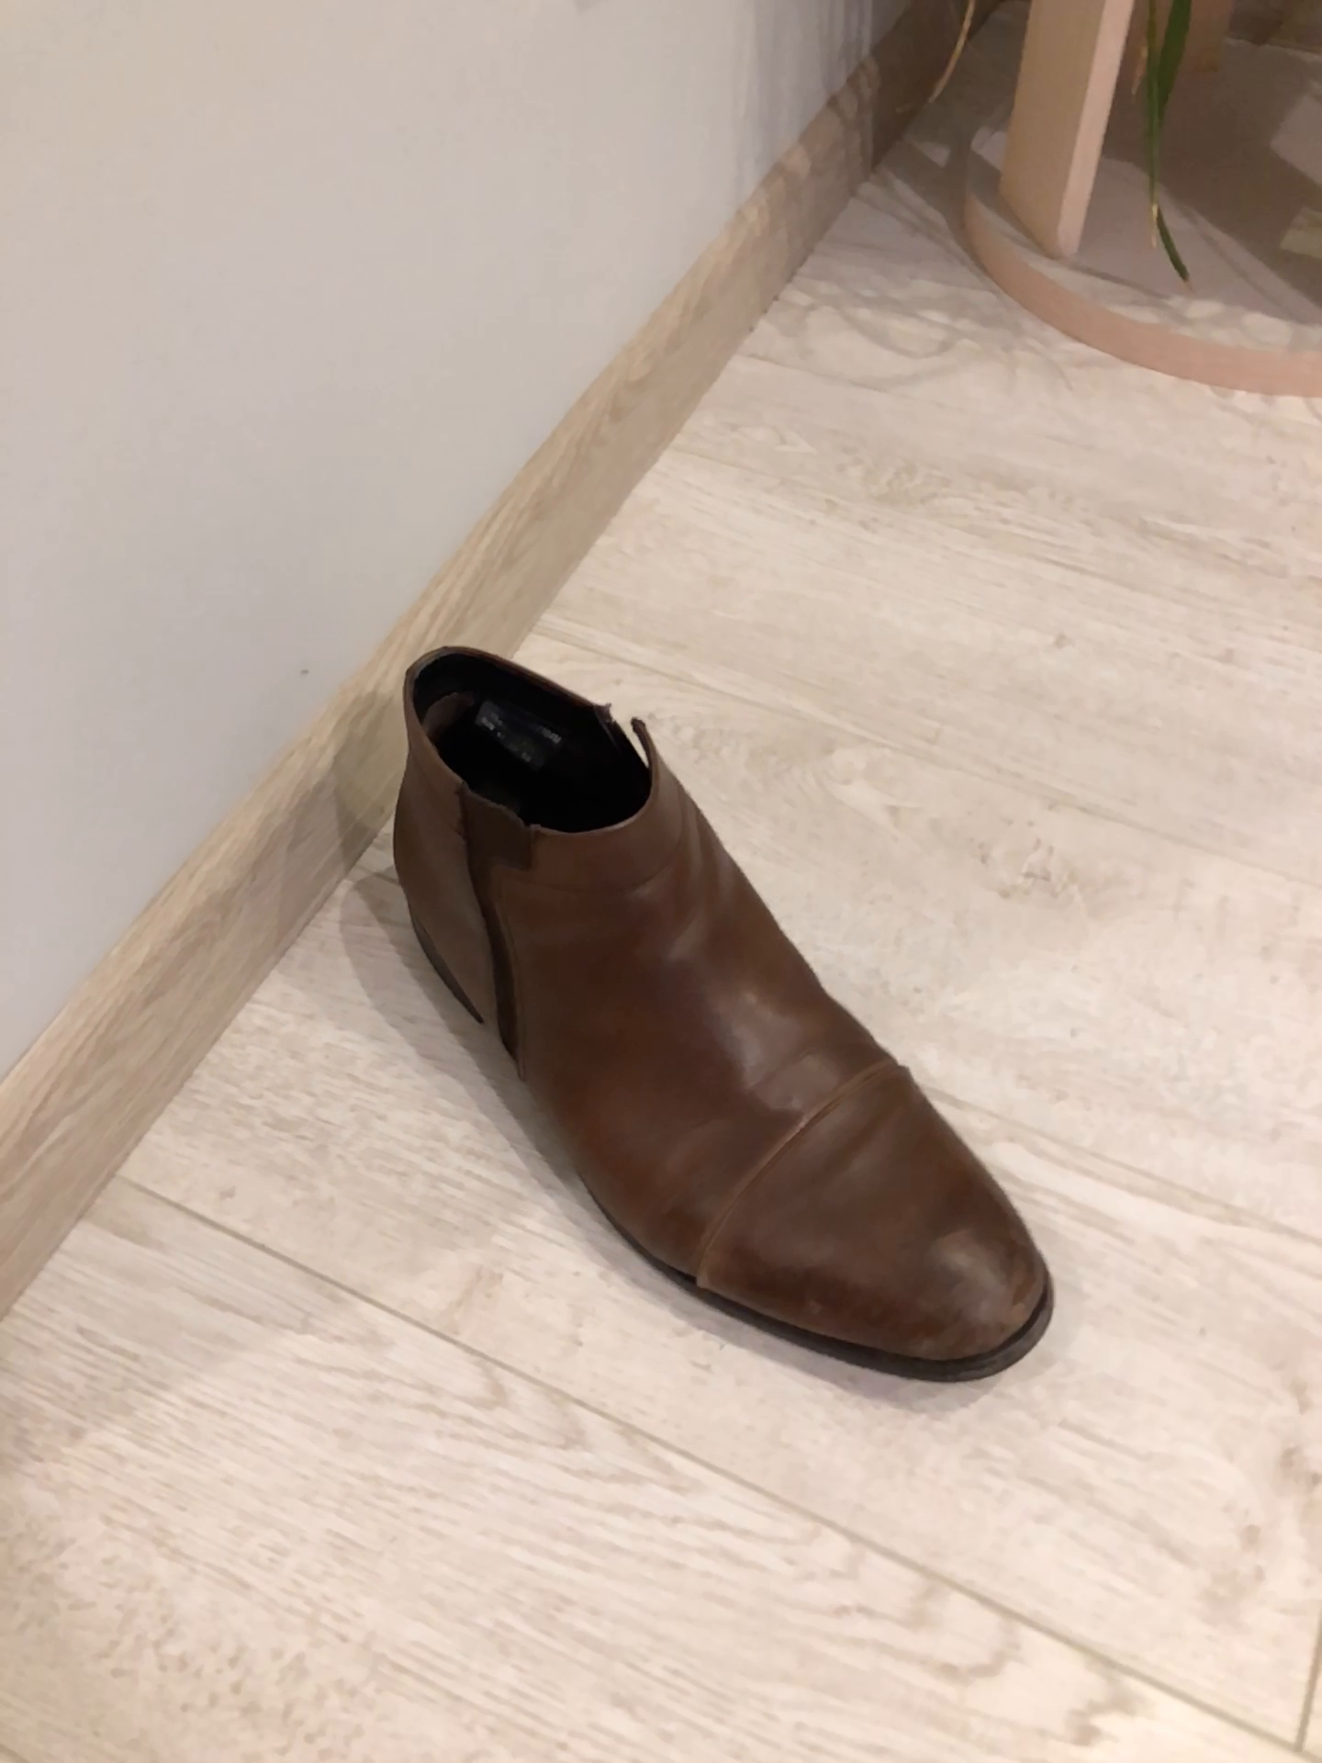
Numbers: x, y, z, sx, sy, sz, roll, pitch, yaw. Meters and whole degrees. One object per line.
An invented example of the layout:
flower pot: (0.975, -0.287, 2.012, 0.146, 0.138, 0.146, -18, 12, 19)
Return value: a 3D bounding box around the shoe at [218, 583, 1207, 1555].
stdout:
shoe: (0.000, 0.043, 0.483, 0.120, 0.109, 0.311, -36, 58, -24)
